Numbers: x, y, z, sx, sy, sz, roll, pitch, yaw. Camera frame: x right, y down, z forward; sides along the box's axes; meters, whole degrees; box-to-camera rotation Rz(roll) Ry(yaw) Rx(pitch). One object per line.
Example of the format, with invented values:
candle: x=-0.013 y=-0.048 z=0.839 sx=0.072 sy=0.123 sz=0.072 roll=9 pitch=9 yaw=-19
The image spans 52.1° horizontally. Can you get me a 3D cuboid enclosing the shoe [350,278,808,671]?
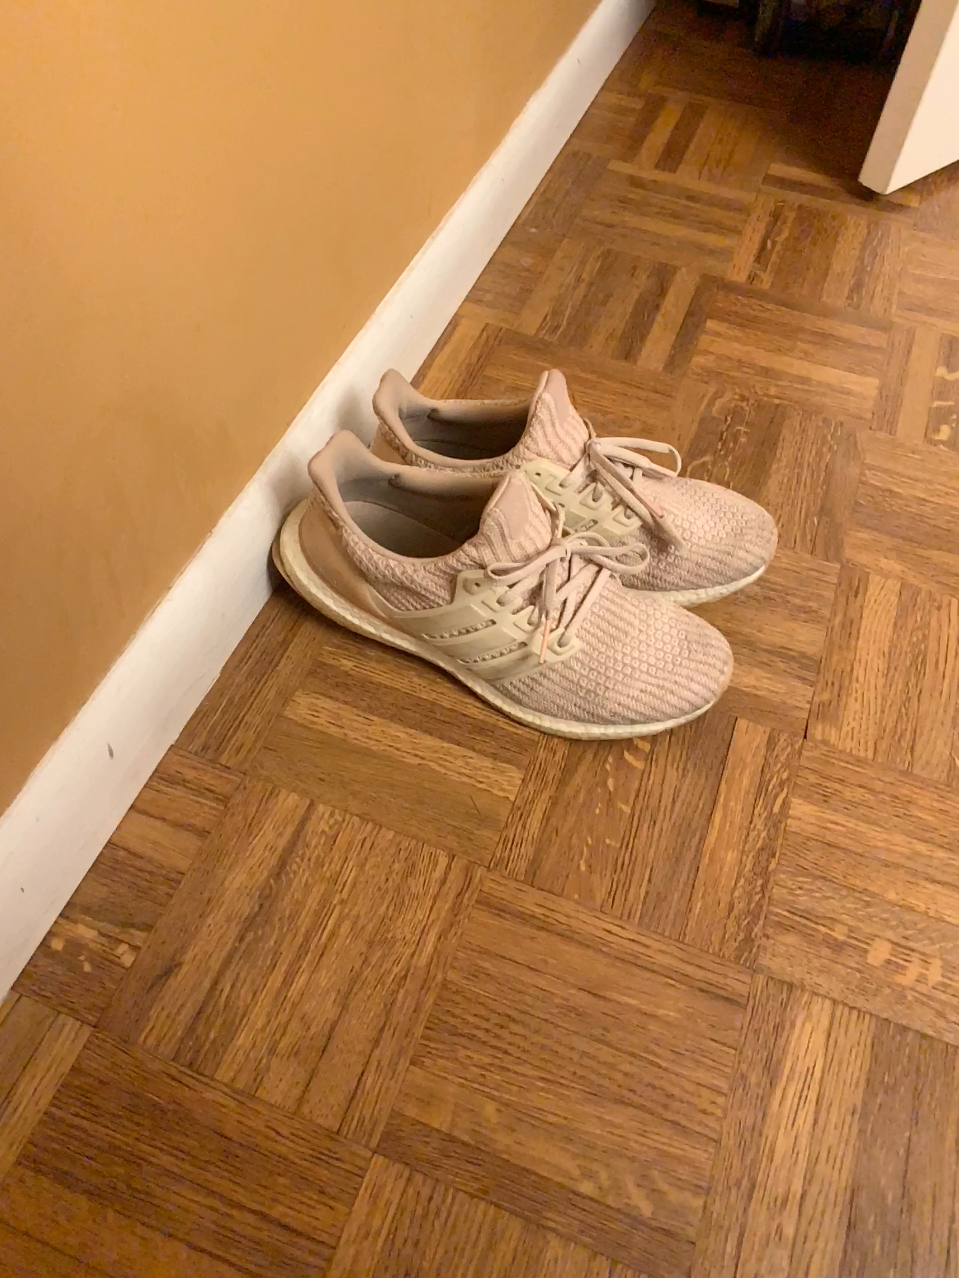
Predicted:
shoe: x=0.063 y=-0.106 z=0.658 sx=0.260 sy=0.120 sz=0.110 roll=26 pitch=56 yaw=-1

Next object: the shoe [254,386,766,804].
shoe: x=0.011 y=-0.023 z=0.613 sx=0.280 sy=0.130 sz=0.100 roll=25 pitch=56 yaw=2
